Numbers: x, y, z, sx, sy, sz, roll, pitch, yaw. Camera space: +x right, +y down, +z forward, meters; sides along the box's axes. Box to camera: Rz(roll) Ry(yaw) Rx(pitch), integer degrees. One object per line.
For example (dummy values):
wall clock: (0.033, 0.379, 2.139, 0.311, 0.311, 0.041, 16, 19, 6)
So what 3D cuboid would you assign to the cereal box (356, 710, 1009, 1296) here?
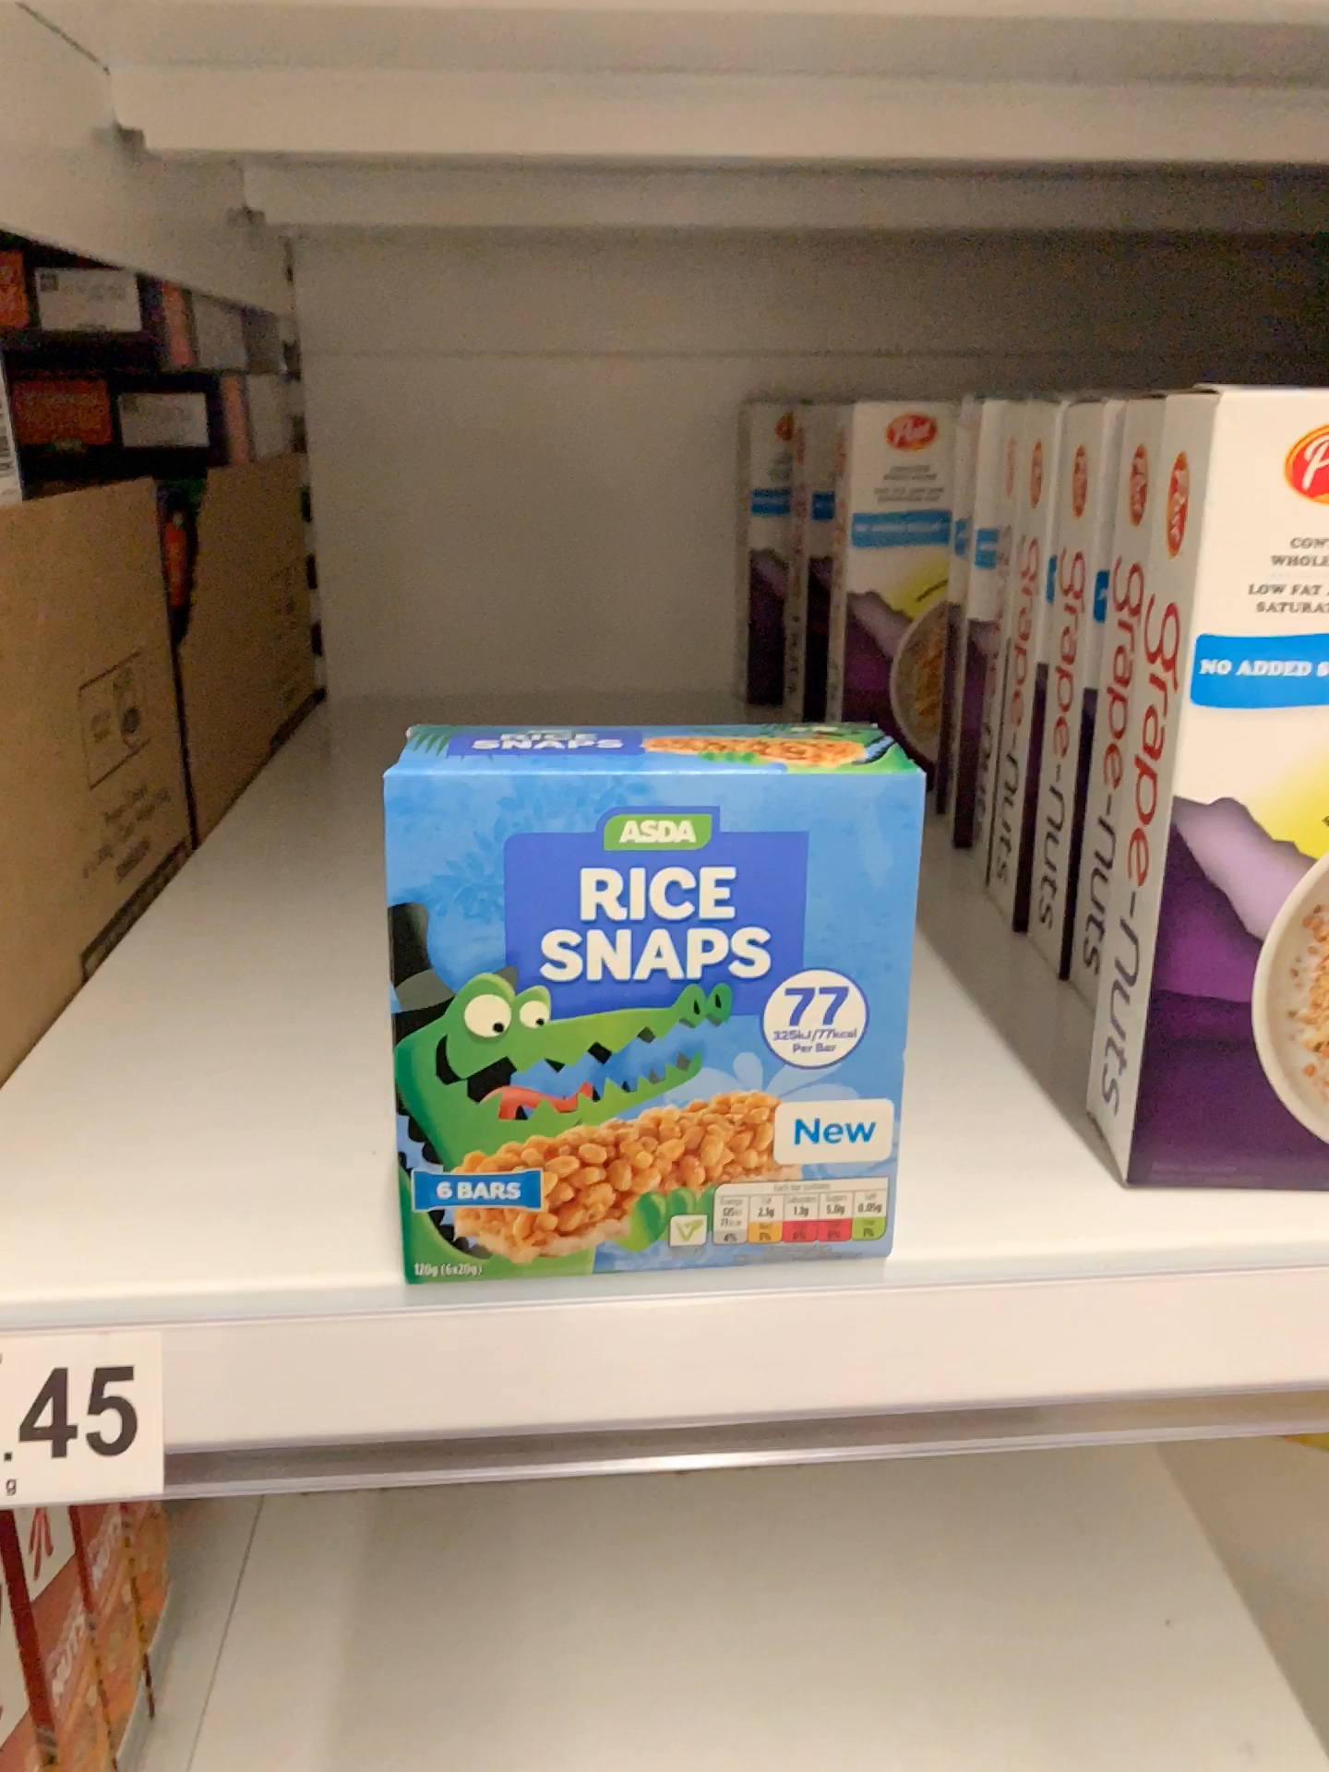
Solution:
cereal box: (0.002, 0.026, 0.336, 0.140, 0.129, 0.050, -1, 18, -6)
